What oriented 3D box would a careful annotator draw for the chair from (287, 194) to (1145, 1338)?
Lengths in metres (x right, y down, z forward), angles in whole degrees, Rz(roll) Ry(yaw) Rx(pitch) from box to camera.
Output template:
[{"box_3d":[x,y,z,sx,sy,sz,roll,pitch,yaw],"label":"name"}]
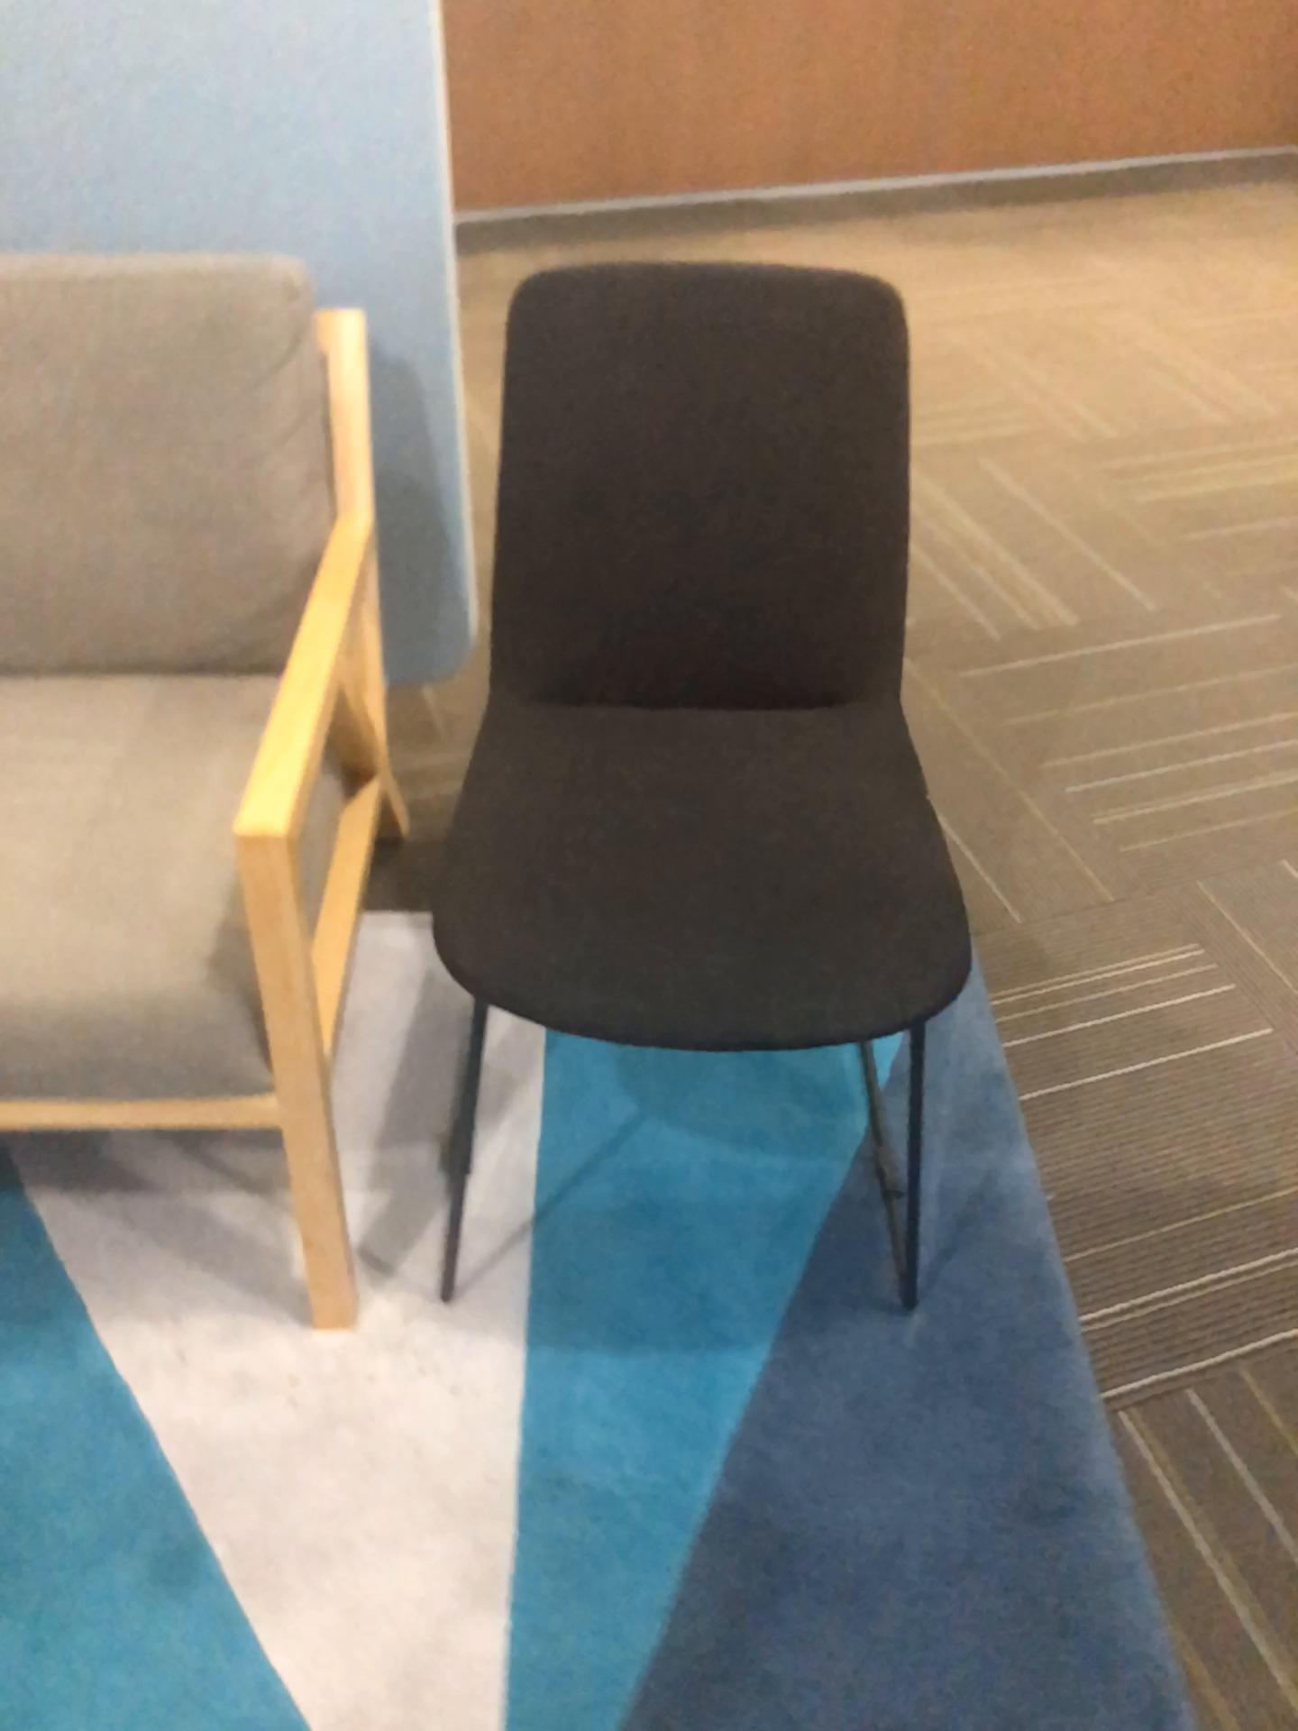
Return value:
[{"box_3d":[0.033,-0.089,1.365,0.500,0.823,0.686,1,41,-1],"label":"chair"}]
